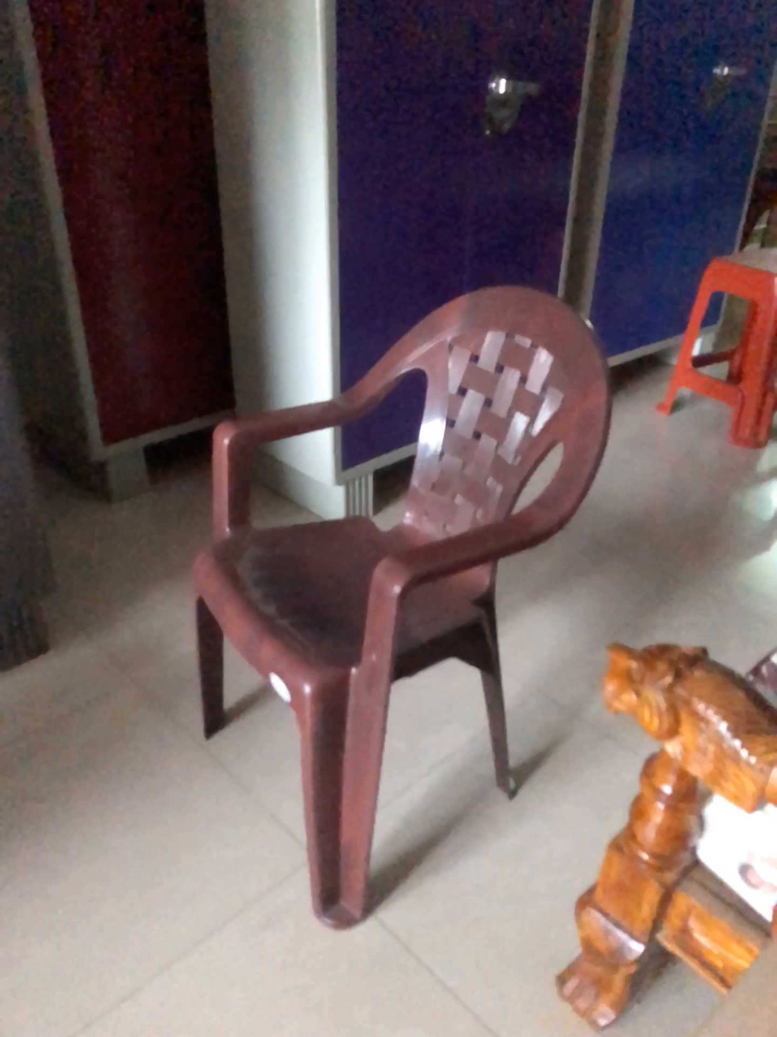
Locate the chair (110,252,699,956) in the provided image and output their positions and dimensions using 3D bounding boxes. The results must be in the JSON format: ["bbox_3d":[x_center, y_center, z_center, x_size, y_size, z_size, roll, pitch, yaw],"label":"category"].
[{"bbox_3d":[-0.001,0.074,1.407,0.612,0.835,0.601,-18,34,-30],"label":"chair"}]
